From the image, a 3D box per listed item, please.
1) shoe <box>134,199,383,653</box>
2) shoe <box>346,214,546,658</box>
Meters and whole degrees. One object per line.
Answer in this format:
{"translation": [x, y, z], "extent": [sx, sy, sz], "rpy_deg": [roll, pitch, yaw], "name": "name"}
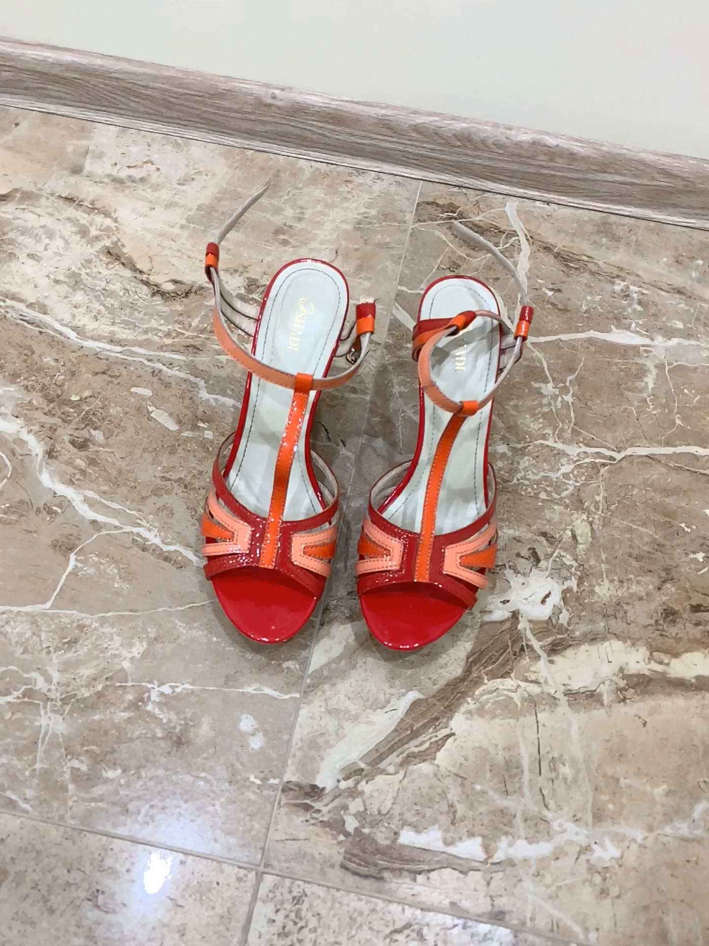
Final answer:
{"translation": [-0.044, -0.027, 0.430], "extent": [0.083, 0.140, 0.218], "rpy_deg": [9, 58, 1], "name": "shoe"}
{"translation": [0.054, -0.022, 0.429], "extent": [0.080, 0.130, 0.218], "rpy_deg": [9, 58, 1], "name": "shoe"}
